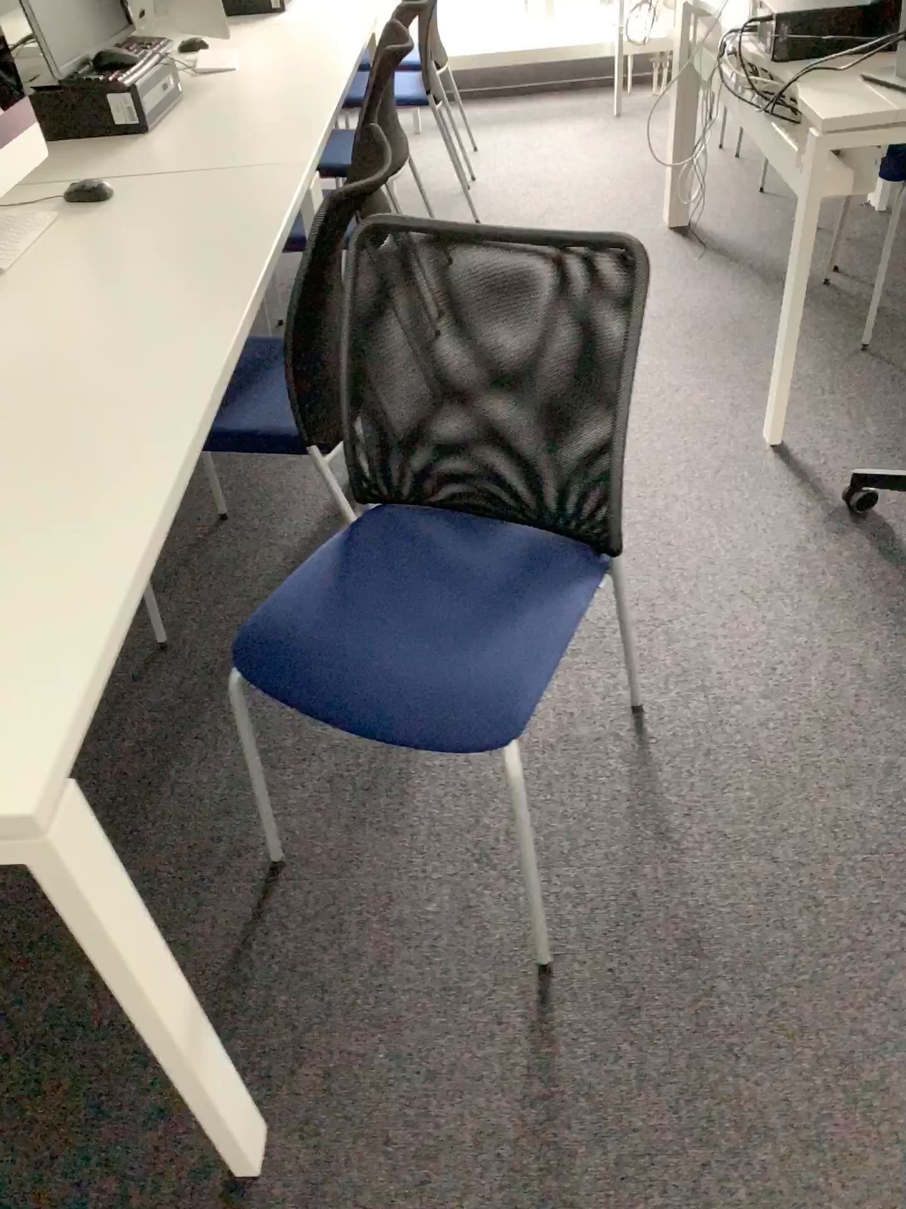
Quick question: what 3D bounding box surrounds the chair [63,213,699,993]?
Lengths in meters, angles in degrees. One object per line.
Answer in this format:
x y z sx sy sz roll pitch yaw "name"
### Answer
-0.014 -0.006 1.386 0.540 0.895 0.603 13 44 21 "chair"
